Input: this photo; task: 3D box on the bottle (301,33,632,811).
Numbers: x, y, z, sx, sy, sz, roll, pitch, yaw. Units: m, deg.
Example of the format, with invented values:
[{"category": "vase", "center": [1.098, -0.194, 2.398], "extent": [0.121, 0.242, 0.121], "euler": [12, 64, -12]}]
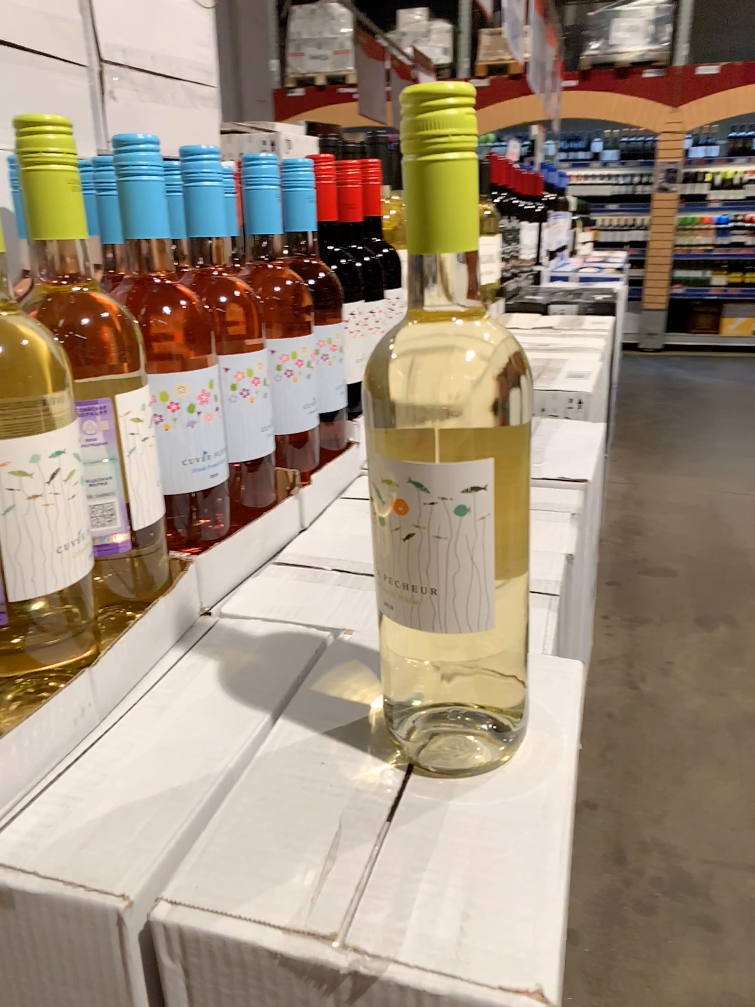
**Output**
[{"category": "bottle", "center": [0.038, -0.027, 0.349], "extent": [0.090, 0.299, 0.090], "euler": [-1, 20, 1]}]
